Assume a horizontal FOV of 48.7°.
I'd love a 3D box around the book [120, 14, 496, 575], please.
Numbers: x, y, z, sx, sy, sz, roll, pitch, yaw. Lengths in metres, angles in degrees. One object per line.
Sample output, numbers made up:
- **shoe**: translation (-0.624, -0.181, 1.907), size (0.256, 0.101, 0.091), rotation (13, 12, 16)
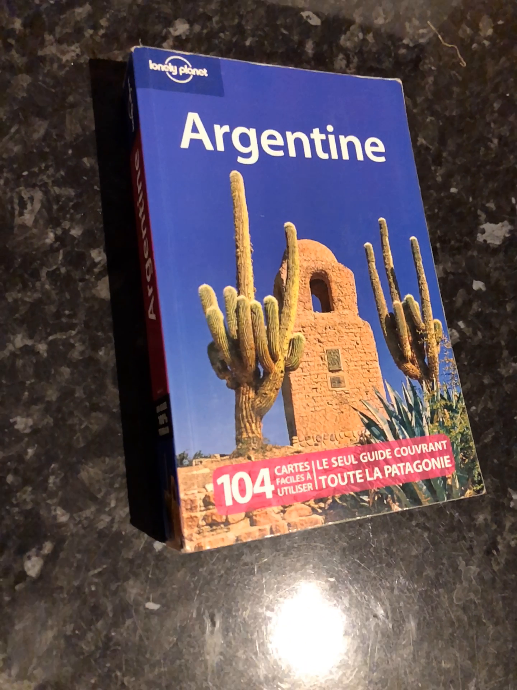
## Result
- **book**: translation (0.018, -0.028, 0.244), size (0.130, 0.030, 0.210), rotation (-3, 78, -23)
